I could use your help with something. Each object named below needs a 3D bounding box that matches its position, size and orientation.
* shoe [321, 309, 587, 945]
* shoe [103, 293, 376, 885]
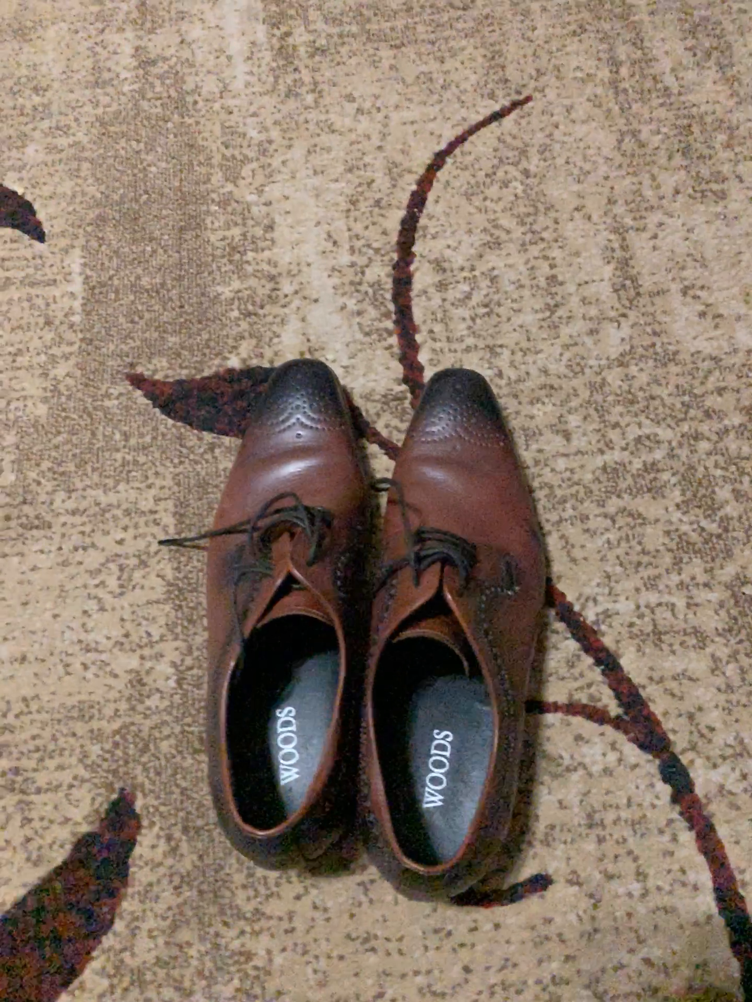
[{"bbox_3d":[0.045,0.054,0.401,0.100,0.115,0.287,3,67,6],"label":"shoe"},{"bbox_3d":[-0.054,0.042,0.415,0.100,0.115,0.287,-1,66,4],"label":"shoe"}]
